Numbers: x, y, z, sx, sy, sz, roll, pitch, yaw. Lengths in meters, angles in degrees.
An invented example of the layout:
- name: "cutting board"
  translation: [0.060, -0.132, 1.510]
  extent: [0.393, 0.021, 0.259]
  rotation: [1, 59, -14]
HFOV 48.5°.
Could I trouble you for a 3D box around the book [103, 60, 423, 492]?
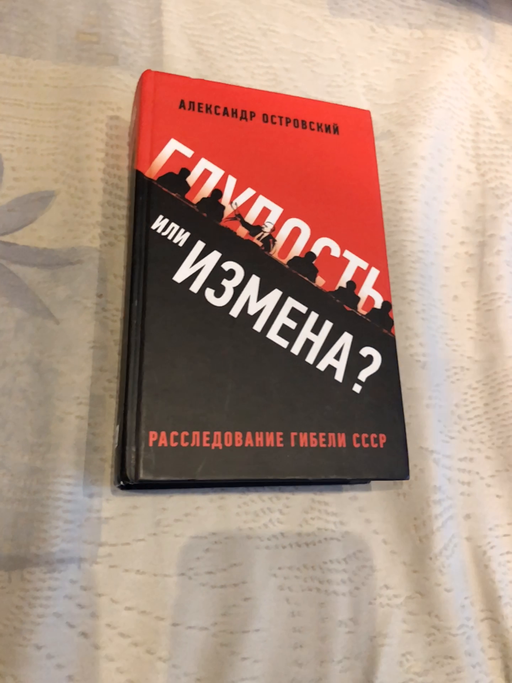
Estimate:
- name: "book"
  translation: [0.000, -0.030, 0.286]
  extent: [0.135, 0.050, 0.200]
  rotation: [4, 71, -16]
